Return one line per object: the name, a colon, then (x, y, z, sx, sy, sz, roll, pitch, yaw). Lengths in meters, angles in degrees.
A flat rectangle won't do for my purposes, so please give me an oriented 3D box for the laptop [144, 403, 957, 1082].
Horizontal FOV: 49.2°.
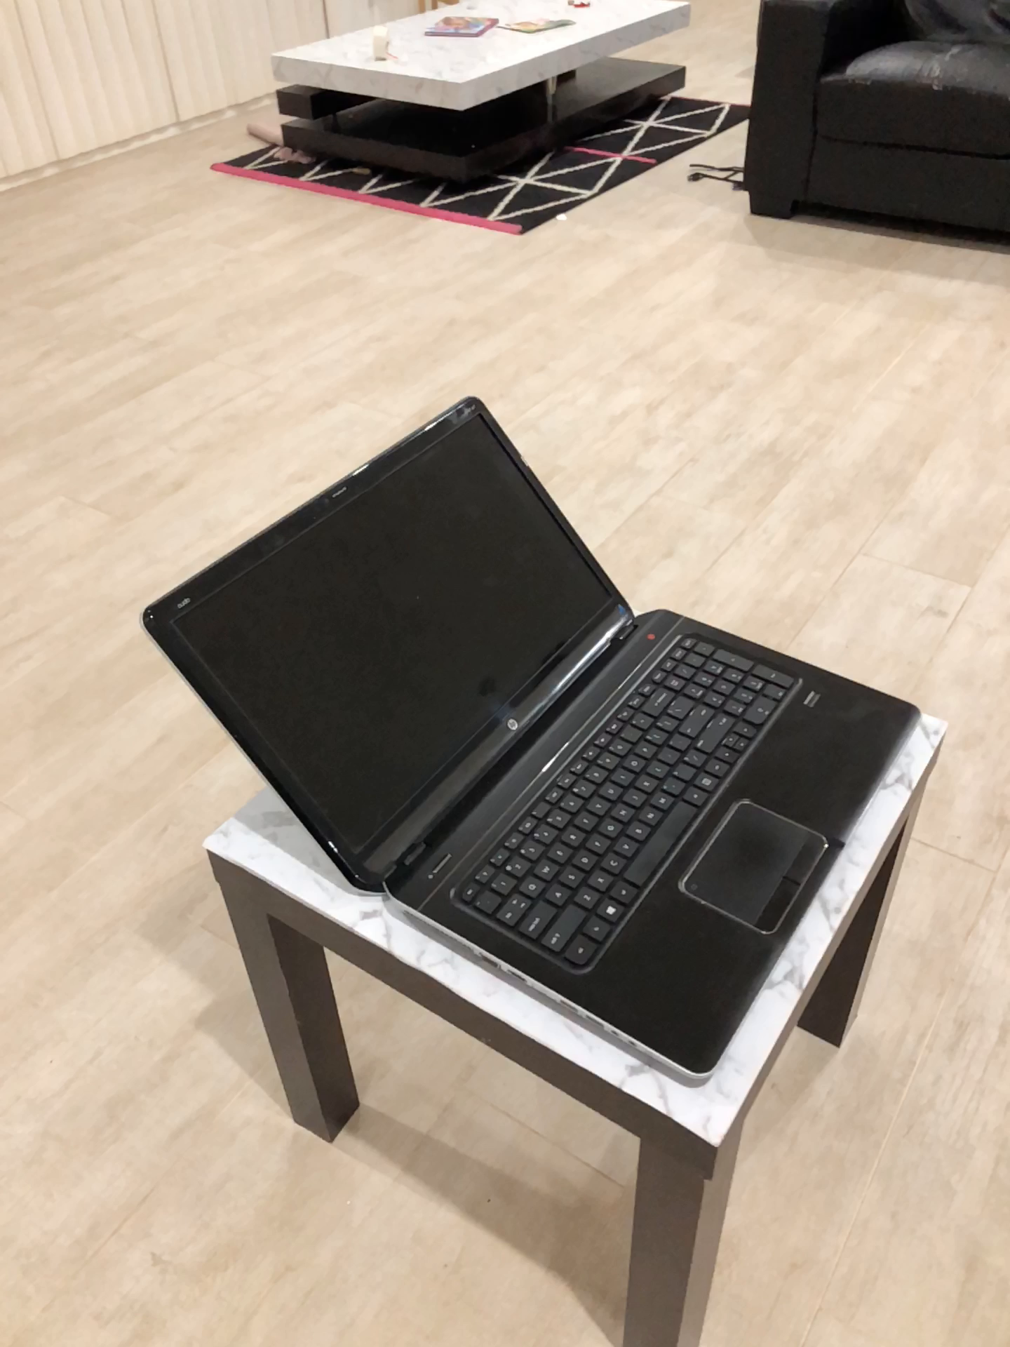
laptop: (0.044, 0.001, 0.835, 0.438, 0.169, 0.388, 23, 46, 26)
